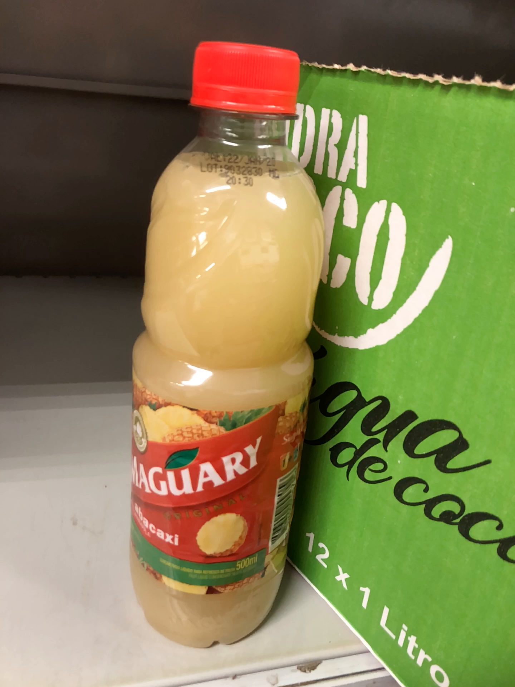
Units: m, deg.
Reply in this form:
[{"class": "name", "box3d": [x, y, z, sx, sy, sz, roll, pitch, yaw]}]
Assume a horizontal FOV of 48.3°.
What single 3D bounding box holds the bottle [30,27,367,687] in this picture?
[{"class": "bottle", "box3d": [-0.022, 0.012, 0.202, 0.070, 0.209, 0.060, 18, 28, 23]}]
